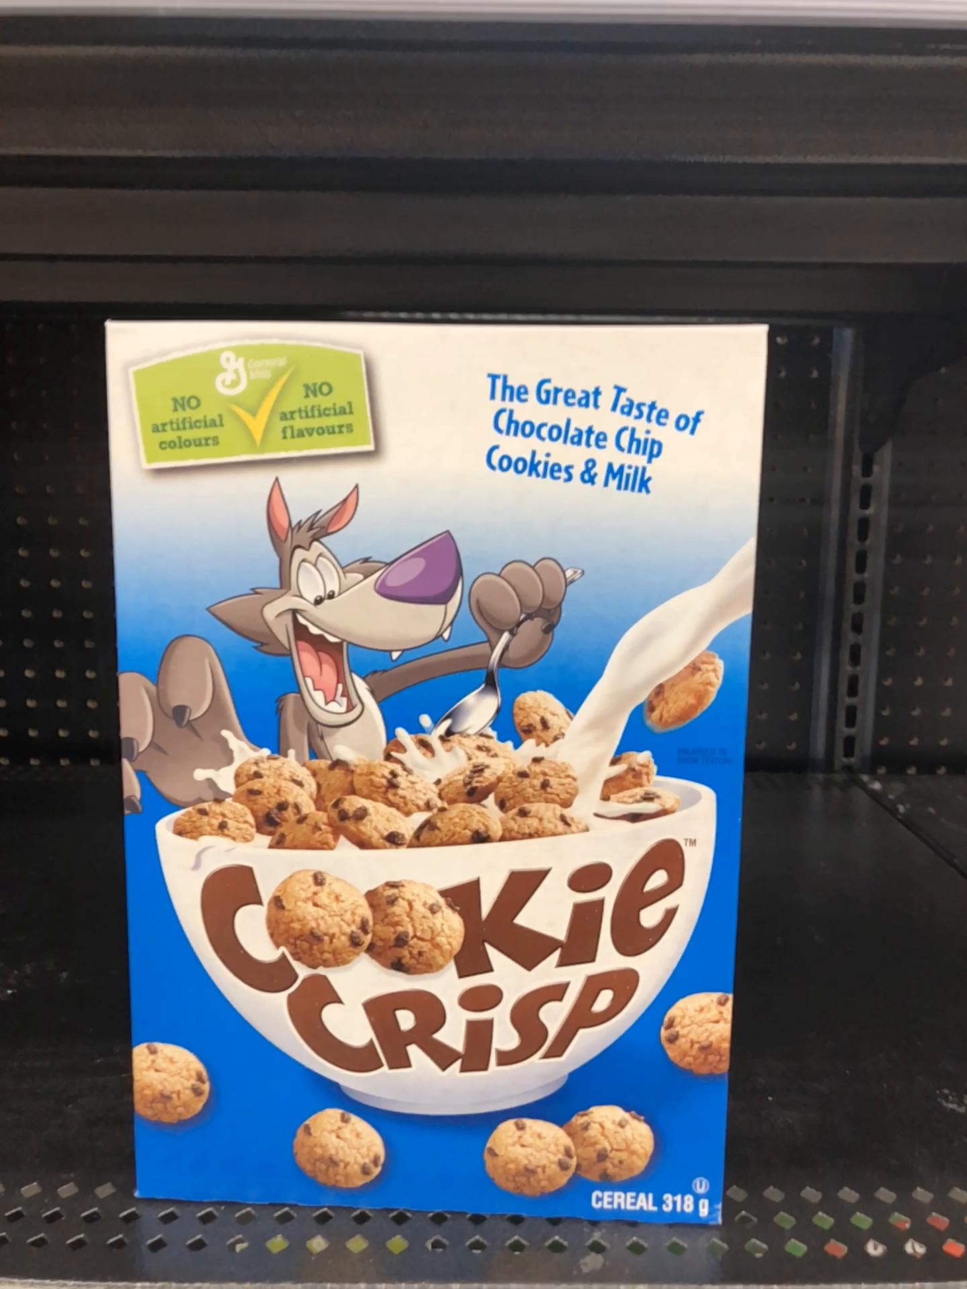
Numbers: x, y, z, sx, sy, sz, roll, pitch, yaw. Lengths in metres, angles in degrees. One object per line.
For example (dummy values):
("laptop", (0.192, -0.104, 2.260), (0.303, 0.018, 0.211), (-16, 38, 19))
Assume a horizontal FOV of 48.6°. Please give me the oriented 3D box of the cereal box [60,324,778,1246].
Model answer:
("cereal box", (-0.019, 0.044, 0.348), (0.200, 0.279, 0.060), (1, 9, 3))
